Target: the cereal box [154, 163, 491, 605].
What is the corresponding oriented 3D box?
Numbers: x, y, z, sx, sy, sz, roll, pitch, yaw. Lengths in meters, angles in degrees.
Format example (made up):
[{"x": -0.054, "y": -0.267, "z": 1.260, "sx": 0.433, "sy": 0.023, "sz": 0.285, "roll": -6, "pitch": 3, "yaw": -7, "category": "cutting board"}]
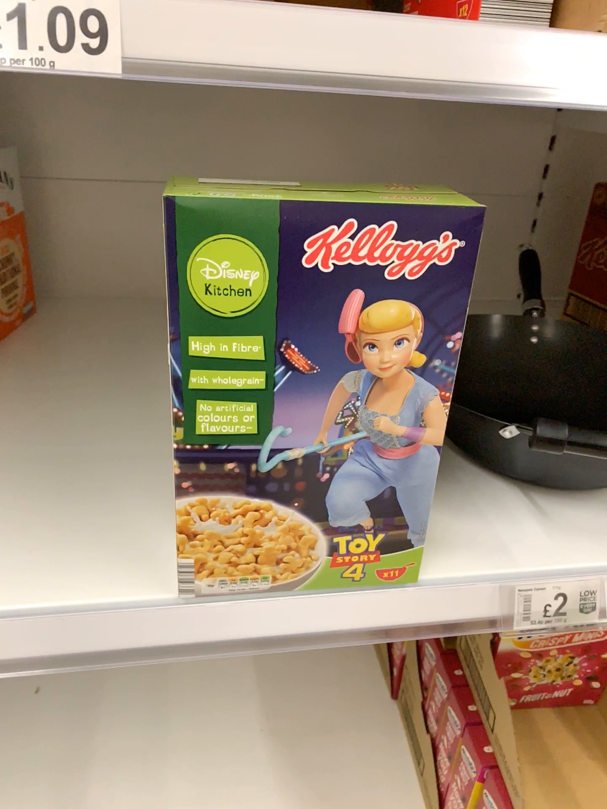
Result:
[{"x": -0.001, "y": -0.005, "z": 0.447, "sx": 0.190, "sy": 0.297, "sz": 0.081, "roll": -1, "pitch": 27, "yaw": -9, "category": "cereal box"}]
